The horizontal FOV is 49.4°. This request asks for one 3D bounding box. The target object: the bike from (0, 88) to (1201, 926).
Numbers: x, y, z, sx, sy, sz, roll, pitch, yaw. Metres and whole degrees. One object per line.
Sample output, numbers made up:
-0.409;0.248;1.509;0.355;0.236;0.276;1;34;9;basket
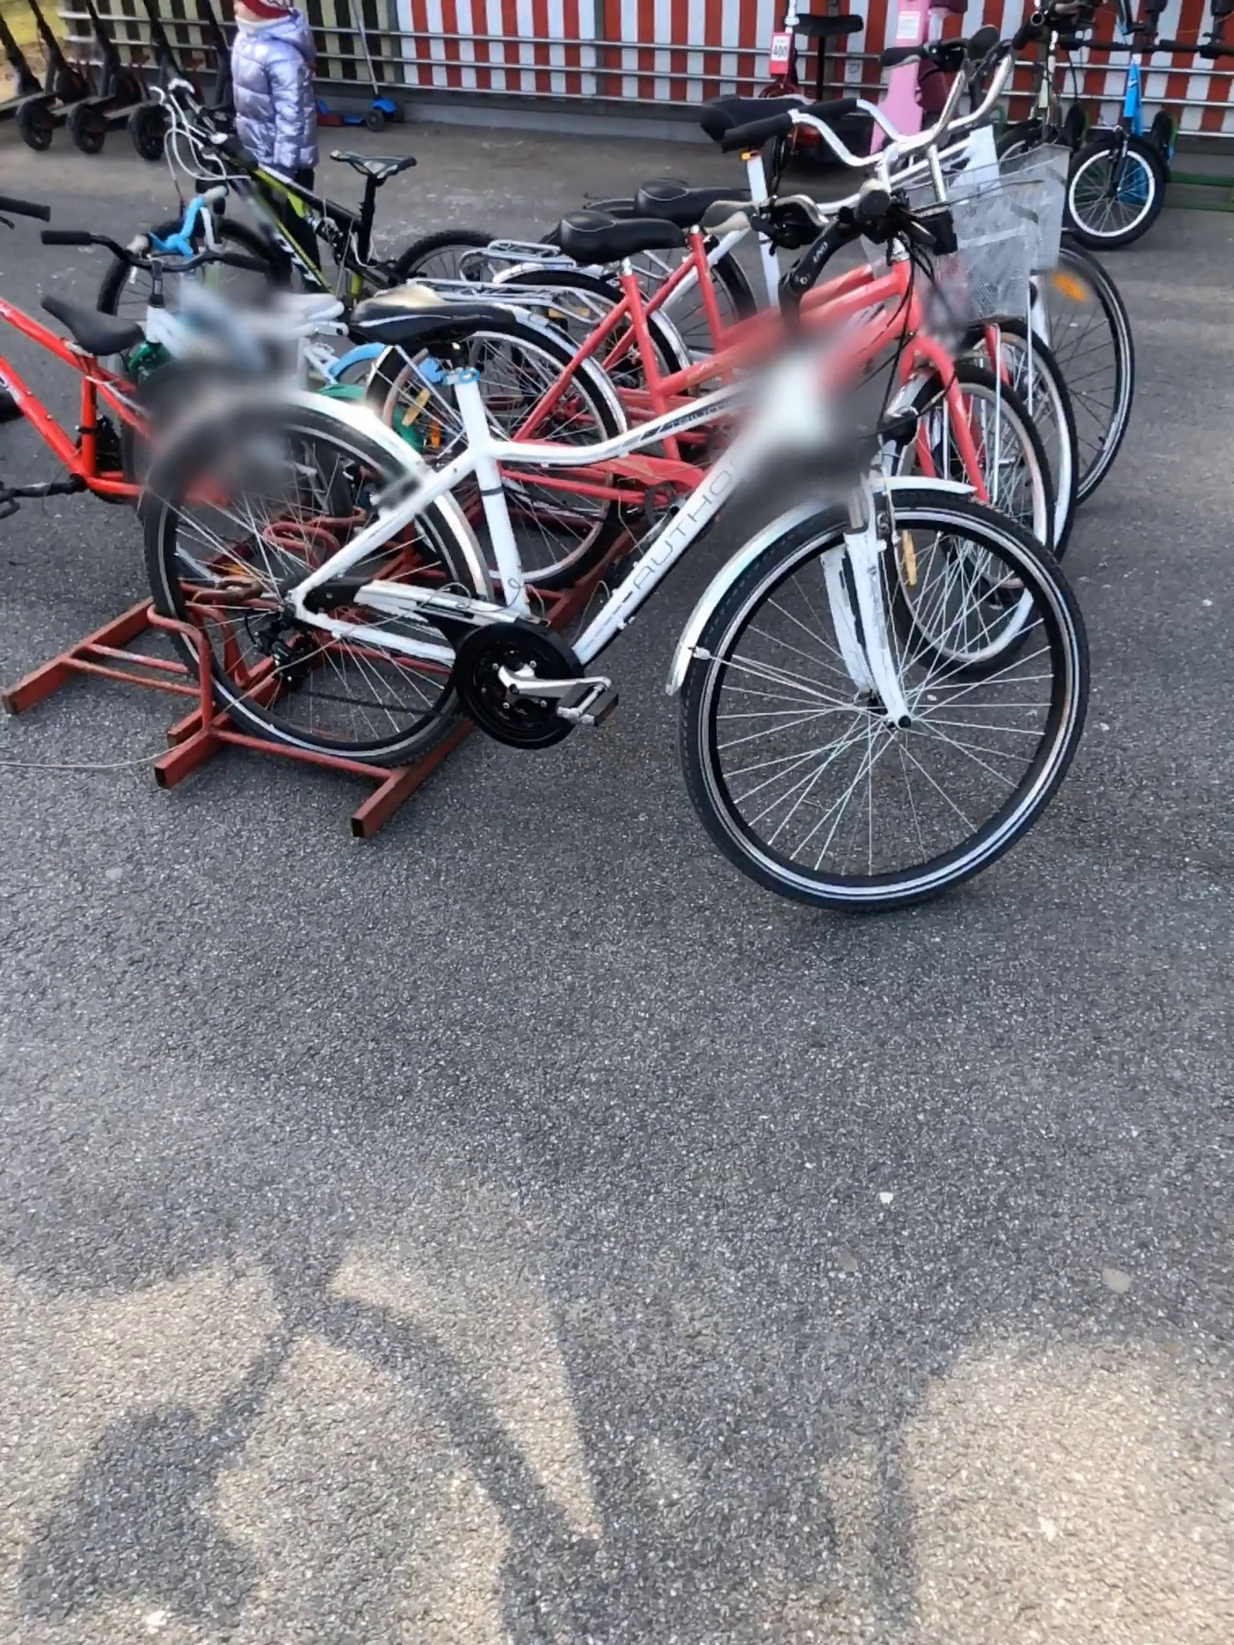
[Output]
-0.041;-0.558;2.285;1.698;1.111;0.648;7;39;12;bike
